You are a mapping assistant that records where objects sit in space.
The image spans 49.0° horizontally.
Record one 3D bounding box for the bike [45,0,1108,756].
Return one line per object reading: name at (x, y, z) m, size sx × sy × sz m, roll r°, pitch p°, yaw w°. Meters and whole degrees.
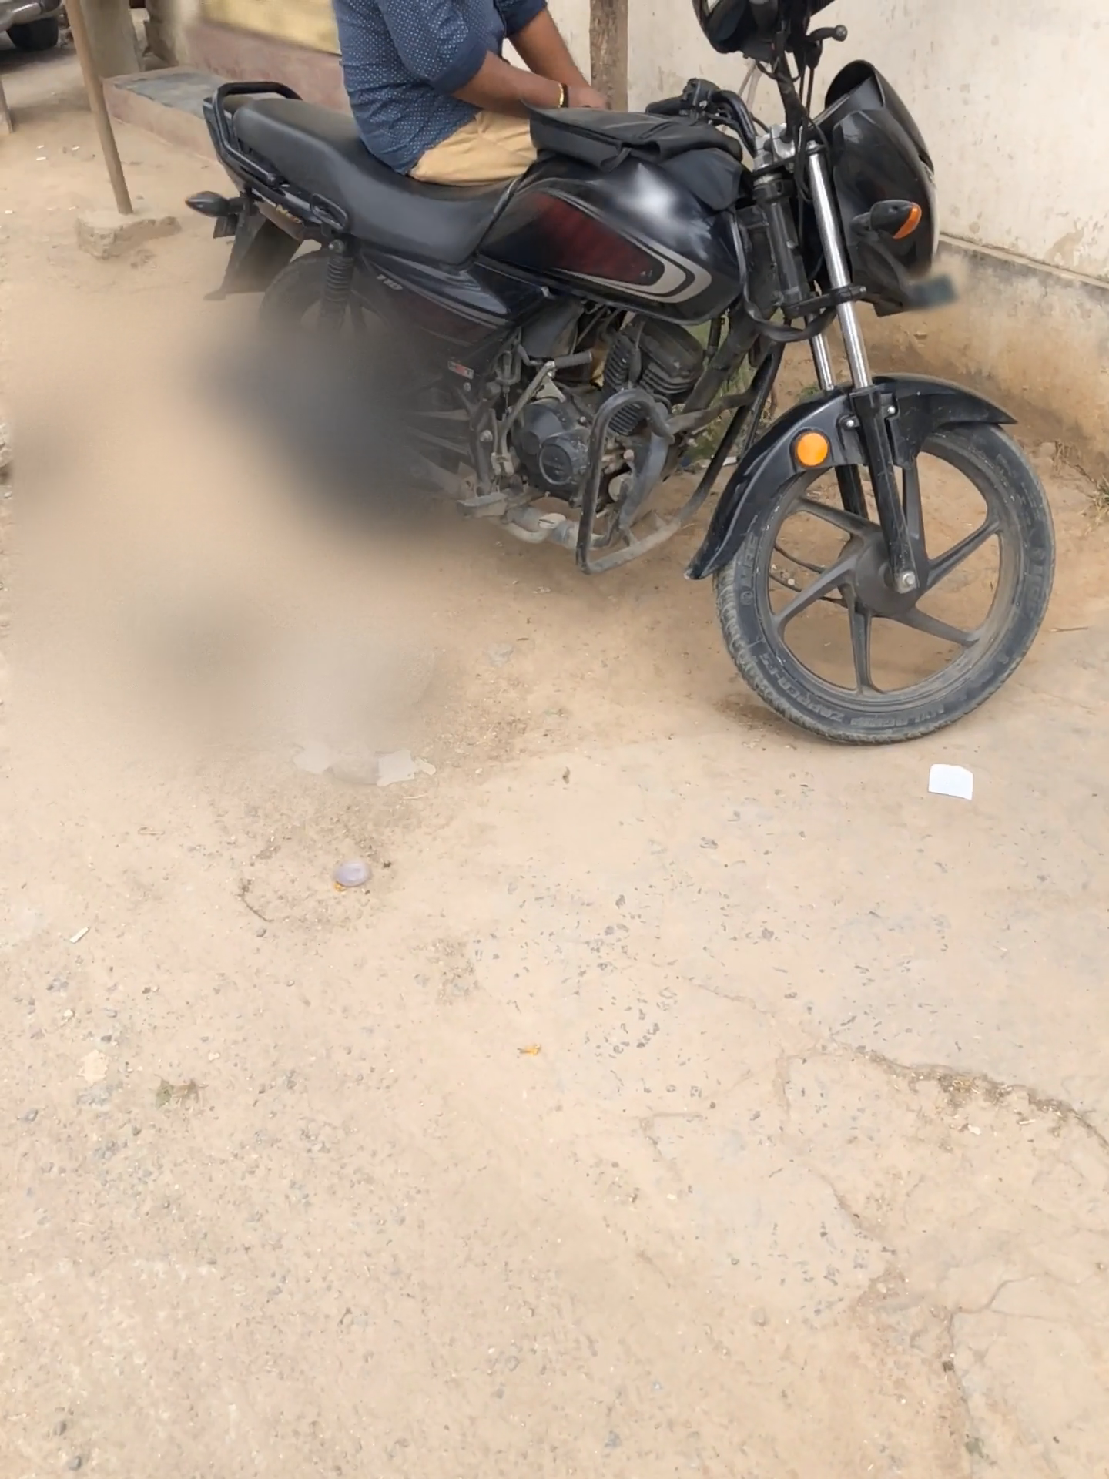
bike at (0.136, -0.818, 2.241) m, size 1.664 × 1.069 × 0.725 m, roll 18°, pitch 44°, yaw 23°
